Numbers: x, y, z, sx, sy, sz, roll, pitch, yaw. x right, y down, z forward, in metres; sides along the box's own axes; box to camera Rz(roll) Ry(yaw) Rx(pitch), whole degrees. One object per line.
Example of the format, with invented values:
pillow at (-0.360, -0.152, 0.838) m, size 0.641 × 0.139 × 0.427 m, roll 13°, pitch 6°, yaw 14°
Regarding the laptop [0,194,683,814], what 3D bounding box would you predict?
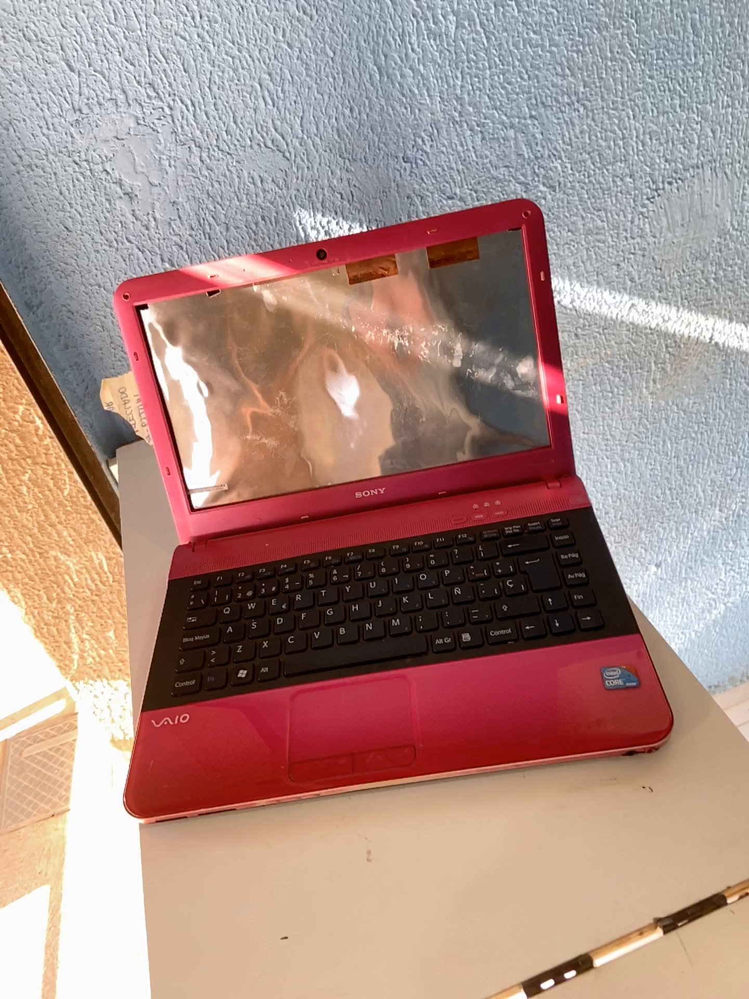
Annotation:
laptop at (-0.018, -0.018, 0.531) m, size 0.330 × 0.187 × 0.341 m, roll -10°, pitch 41°, yaw 6°
